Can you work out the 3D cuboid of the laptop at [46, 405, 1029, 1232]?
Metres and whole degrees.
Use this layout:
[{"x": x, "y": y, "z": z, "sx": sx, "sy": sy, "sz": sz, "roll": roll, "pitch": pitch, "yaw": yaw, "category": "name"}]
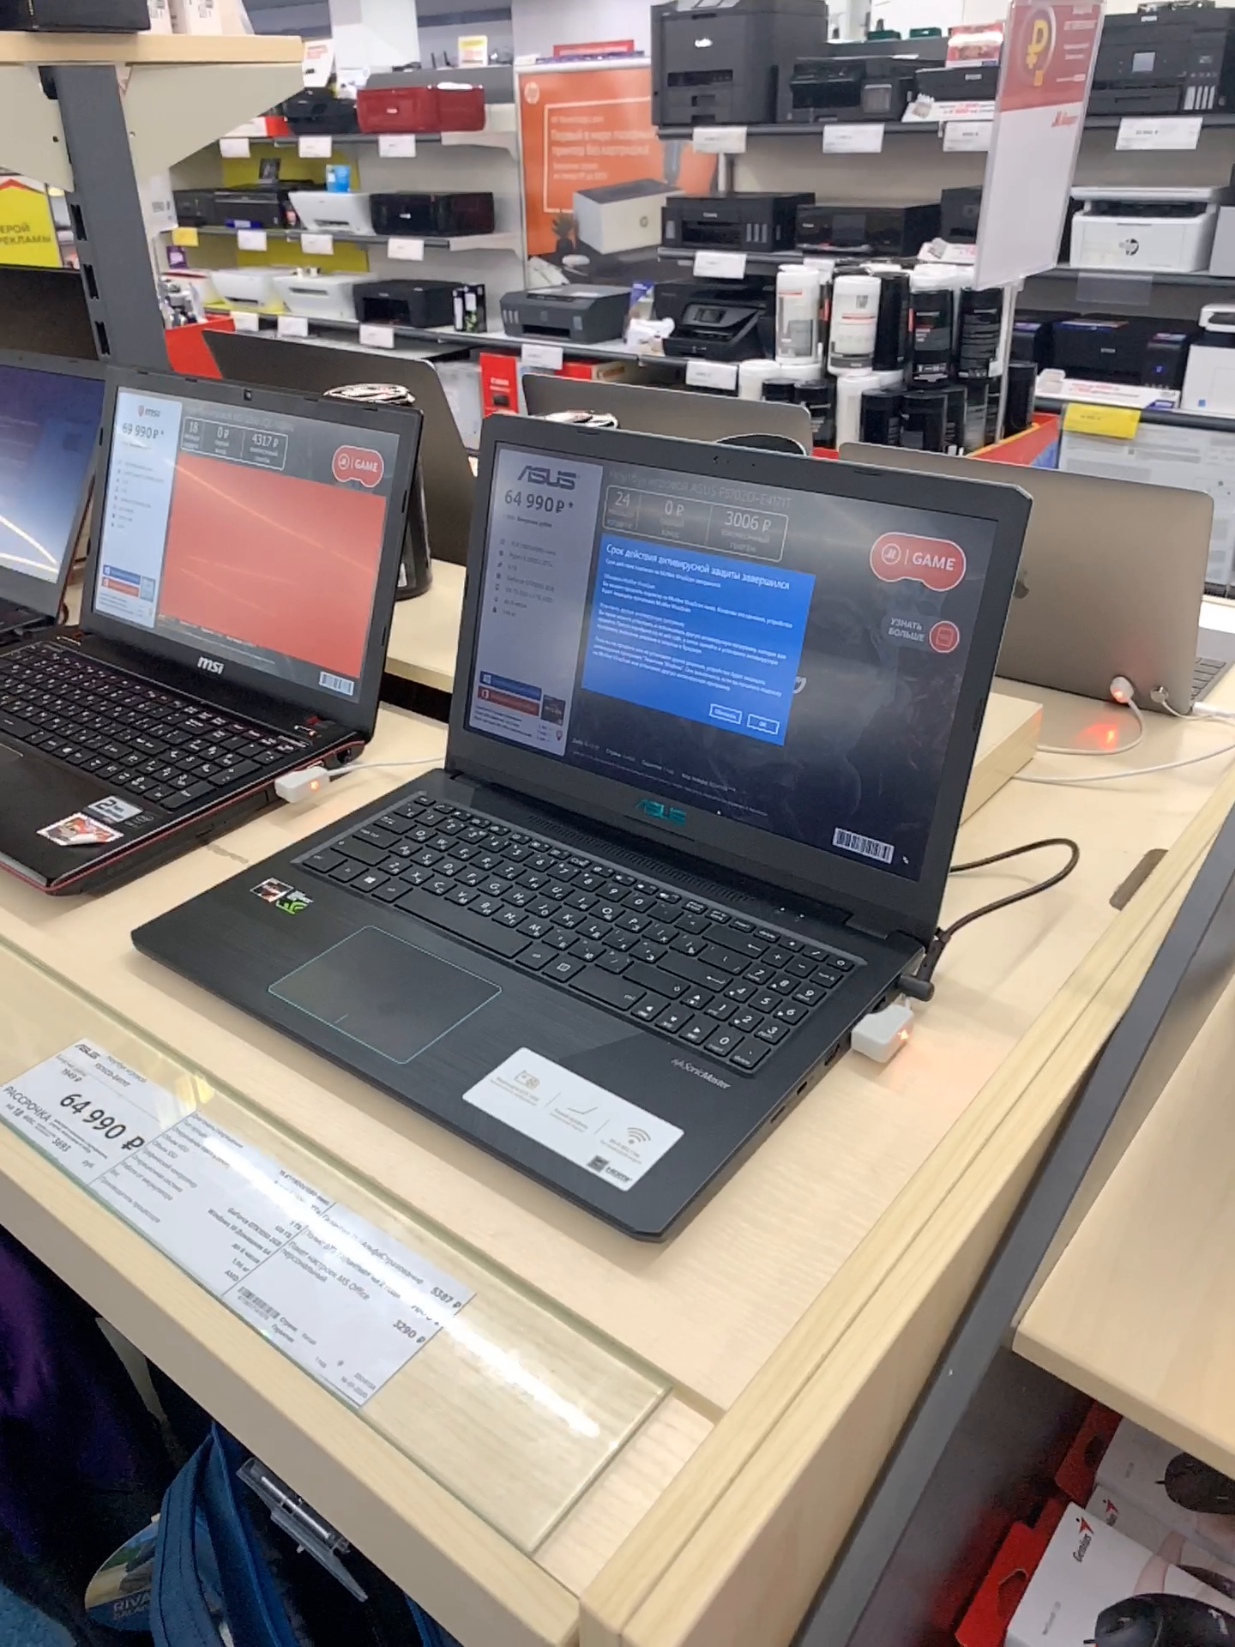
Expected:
[{"x": -0.033, "y": -0.054, "z": 0.659, "sx": 0.359, "sy": 0.222, "sz": 0.318, "roll": 19, "pitch": 36, "yaw": 33, "category": "laptop"}]
